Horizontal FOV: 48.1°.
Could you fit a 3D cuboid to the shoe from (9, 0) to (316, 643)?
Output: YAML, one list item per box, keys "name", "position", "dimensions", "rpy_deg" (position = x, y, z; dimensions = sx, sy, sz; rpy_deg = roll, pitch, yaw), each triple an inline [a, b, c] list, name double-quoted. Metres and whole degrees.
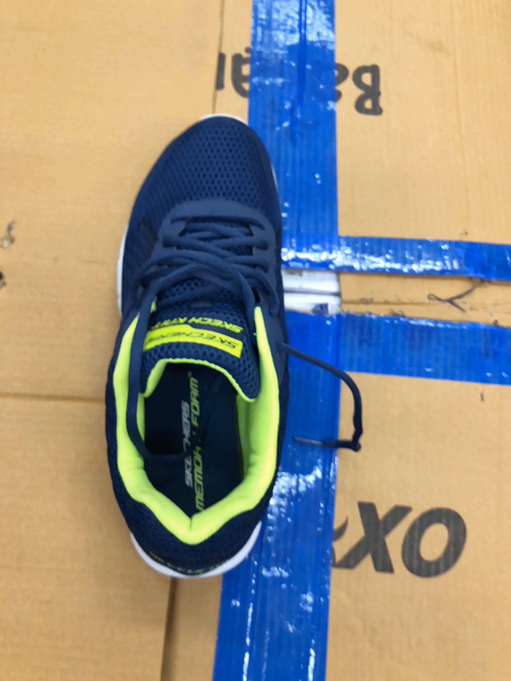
- name: "shoe"
  position: [-0.031, -0.025, 0.311]
  dimensions: [0.106, 0.146, 0.307]
  rpy_deg: [2, 75, -2]
